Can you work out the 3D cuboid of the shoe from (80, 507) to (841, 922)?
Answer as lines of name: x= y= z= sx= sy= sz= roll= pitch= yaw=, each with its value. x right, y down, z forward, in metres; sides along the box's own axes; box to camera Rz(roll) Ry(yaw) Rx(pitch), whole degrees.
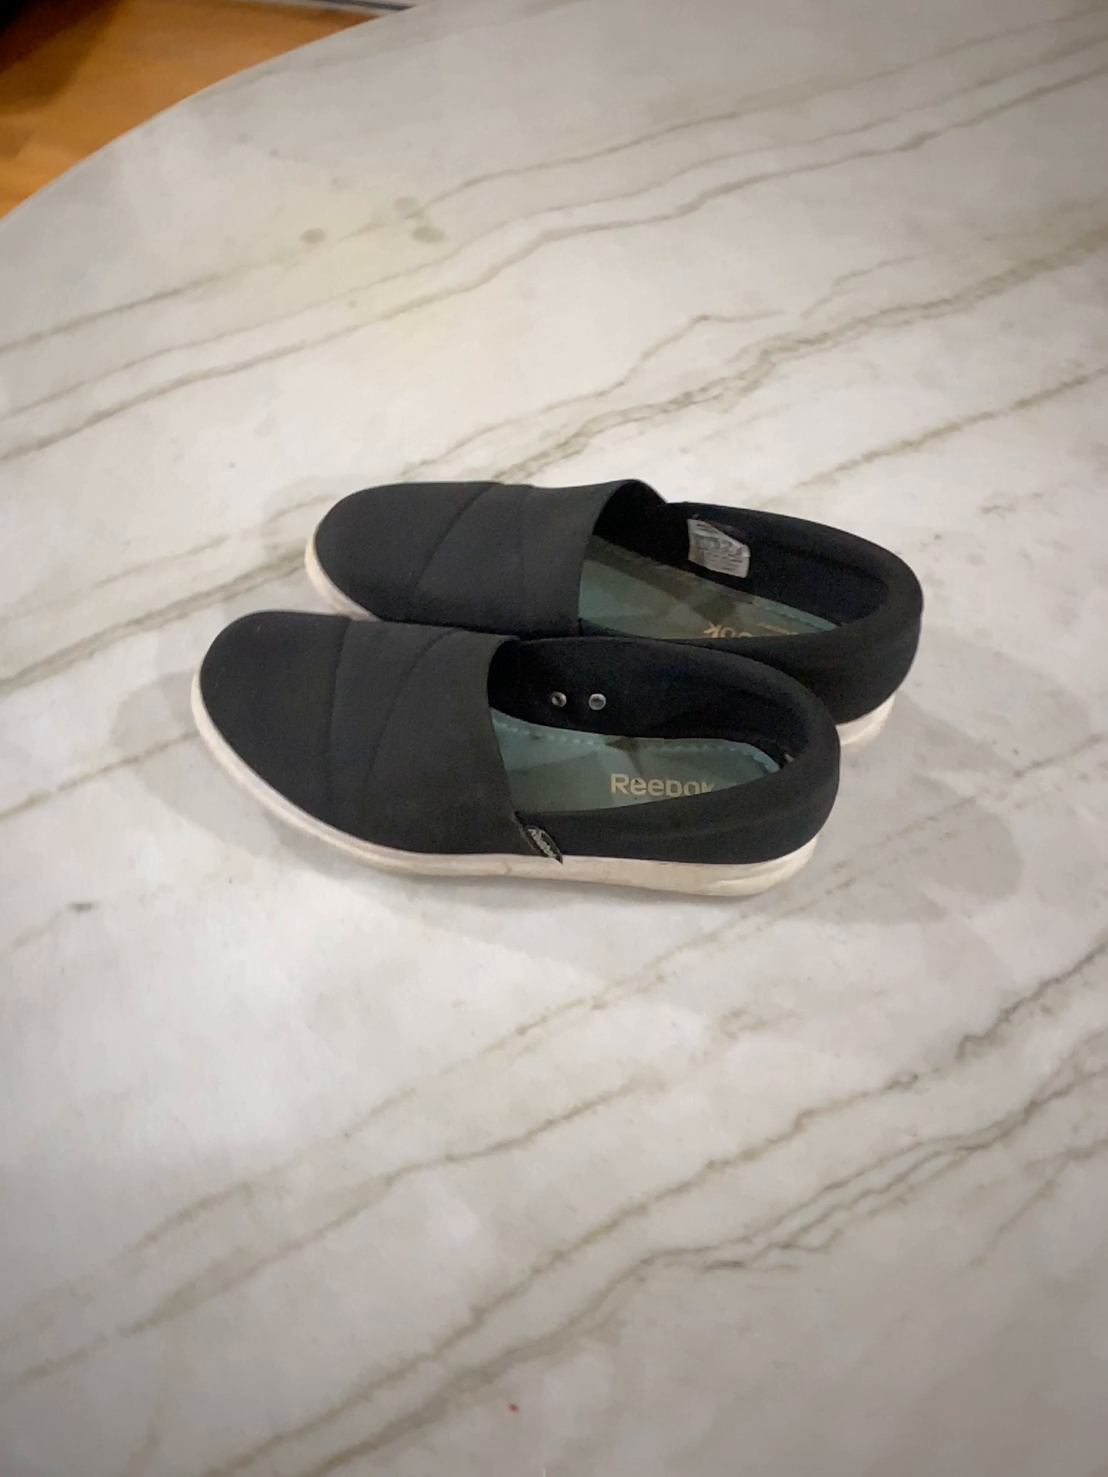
shoe: x=-0.025 y=-0.007 z=0.395 sx=0.229 sy=0.079 sz=0.092 roll=7 pitch=60 yaw=3

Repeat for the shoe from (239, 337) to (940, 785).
shoe: x=0.014 y=-0.068 z=0.430 sx=0.229 sy=0.079 sz=0.092 roll=14 pitch=61 yaw=7
